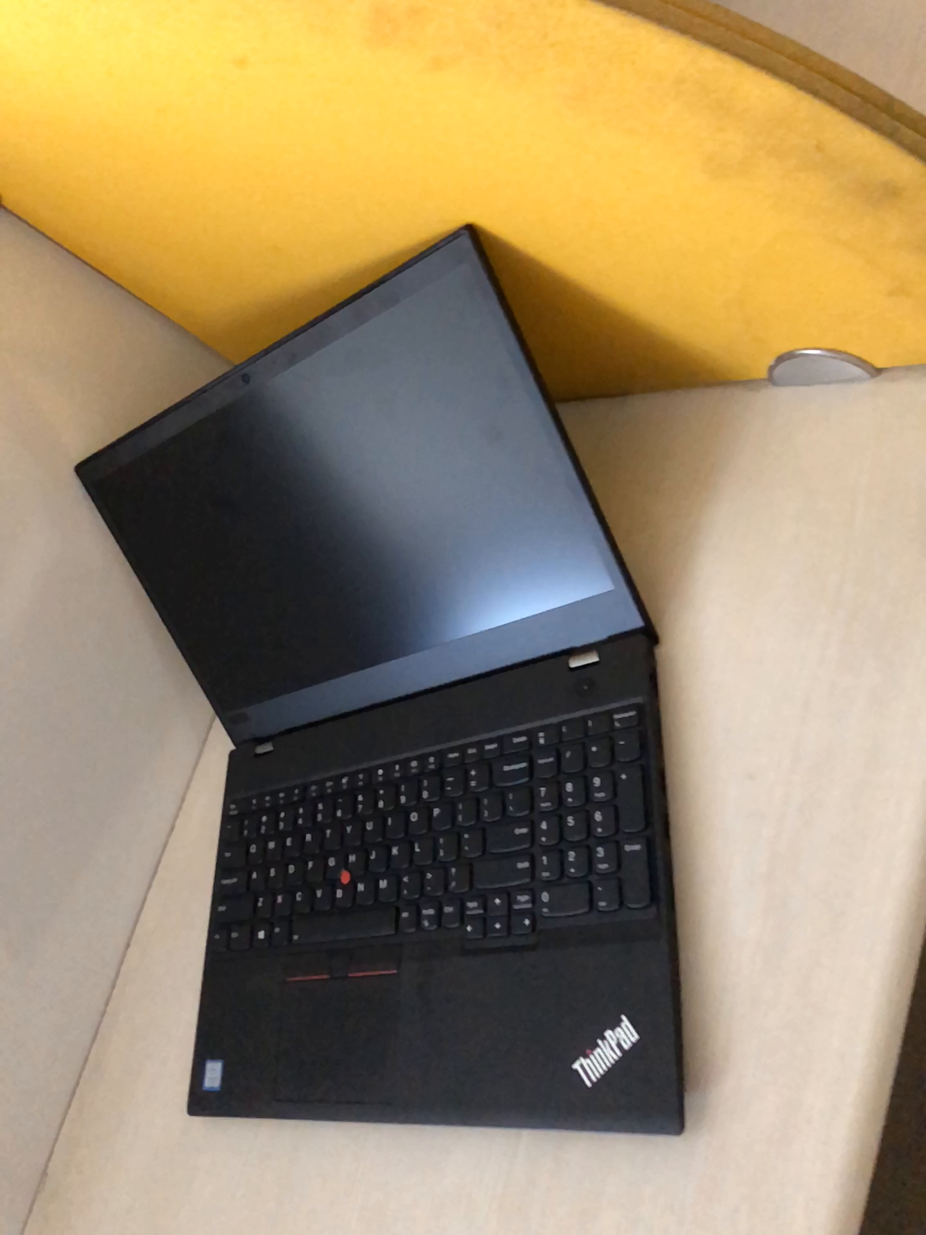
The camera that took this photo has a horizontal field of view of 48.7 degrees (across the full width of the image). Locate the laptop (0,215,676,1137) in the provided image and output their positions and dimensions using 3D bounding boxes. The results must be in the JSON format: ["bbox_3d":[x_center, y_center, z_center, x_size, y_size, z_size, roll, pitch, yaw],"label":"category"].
[{"bbox_3d":[-0.092,0.055,0.586,0.346,0.150,0.421,-18,60,34],"label":"laptop"}]
